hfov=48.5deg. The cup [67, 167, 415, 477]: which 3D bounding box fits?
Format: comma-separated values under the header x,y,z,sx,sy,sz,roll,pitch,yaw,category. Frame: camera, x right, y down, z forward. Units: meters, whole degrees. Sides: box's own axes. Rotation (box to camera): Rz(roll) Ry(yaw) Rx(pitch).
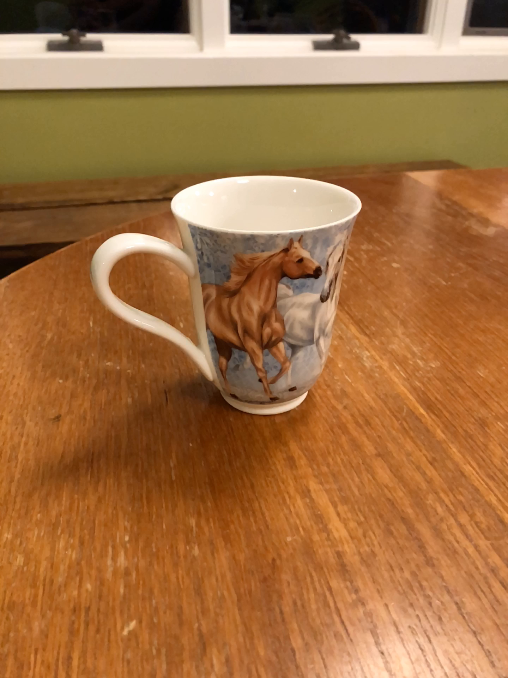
x,y,z,sx,sy,sz,roll,pitch,yaw,category
-0.007,-0.018,0.277,0.133,0.098,0.083,-16,34,-26,cup
